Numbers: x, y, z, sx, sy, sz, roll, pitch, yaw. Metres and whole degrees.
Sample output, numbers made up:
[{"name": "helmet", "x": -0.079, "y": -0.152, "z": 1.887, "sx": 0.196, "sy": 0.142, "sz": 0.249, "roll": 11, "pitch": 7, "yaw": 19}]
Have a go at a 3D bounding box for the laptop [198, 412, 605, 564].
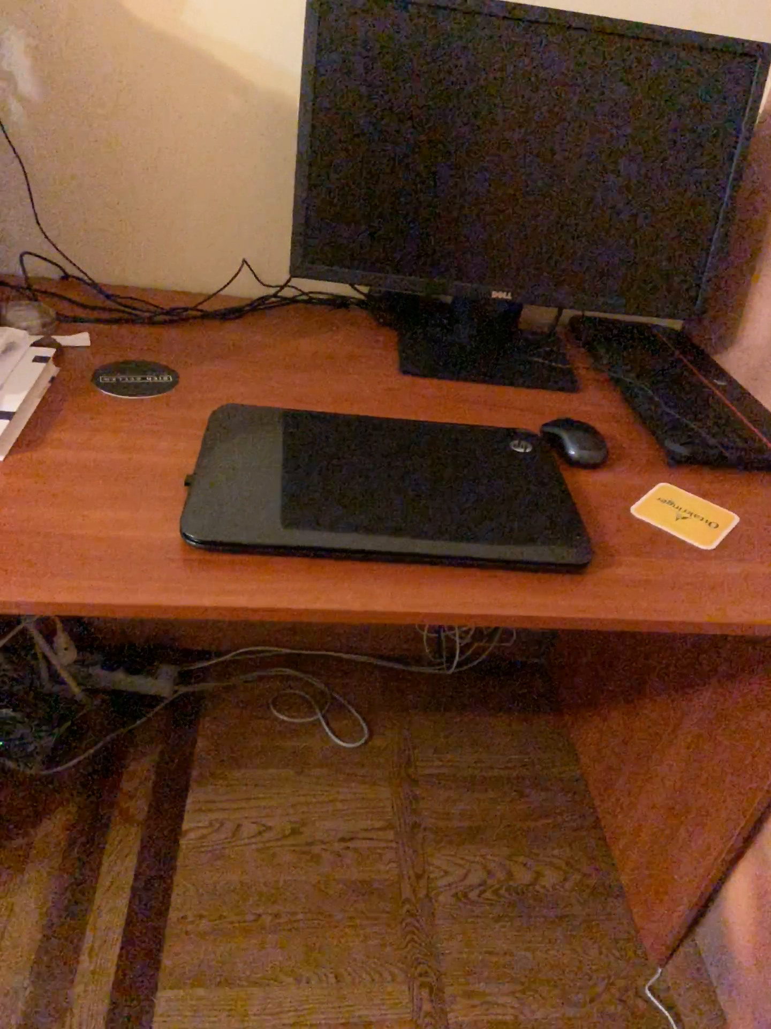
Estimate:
[{"name": "laptop", "x": 0.011, "y": -0.036, "z": 0.825, "sx": 0.381, "sy": 0.001, "sz": 0.244, "roll": 3, "pitch": 35, "yaw": -6}]
